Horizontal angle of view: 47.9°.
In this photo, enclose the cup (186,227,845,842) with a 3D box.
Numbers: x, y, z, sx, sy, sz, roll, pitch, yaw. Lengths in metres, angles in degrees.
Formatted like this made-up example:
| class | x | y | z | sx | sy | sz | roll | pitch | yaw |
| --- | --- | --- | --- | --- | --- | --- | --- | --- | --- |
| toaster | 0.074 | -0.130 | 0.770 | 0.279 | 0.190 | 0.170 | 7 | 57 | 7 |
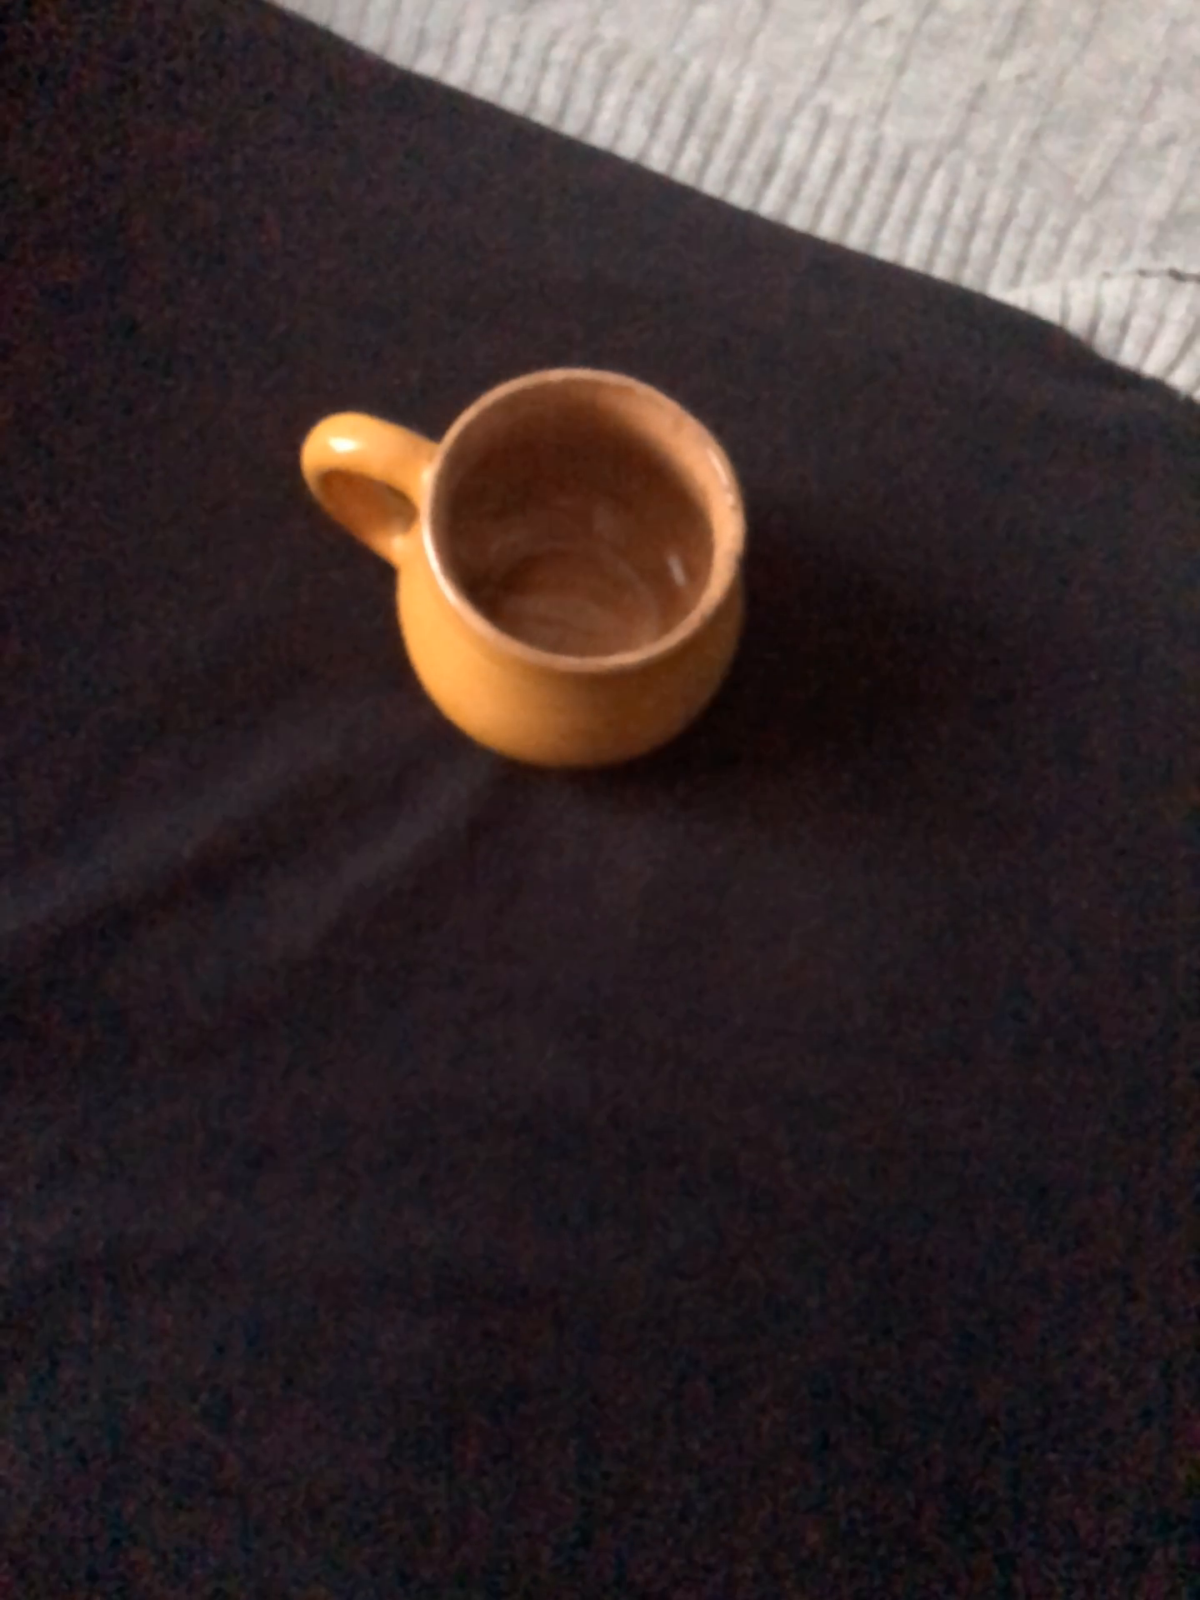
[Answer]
| class | x | y | z | sx | sy | sz | roll | pitch | yaw |
| --- | --- | --- | --- | --- | --- | --- | --- | --- | --- |
| cup | -0.019 | -0.061 | 0.323 | 0.119 | 0.058 | 0.082 | 29 | 72 | 2 |
